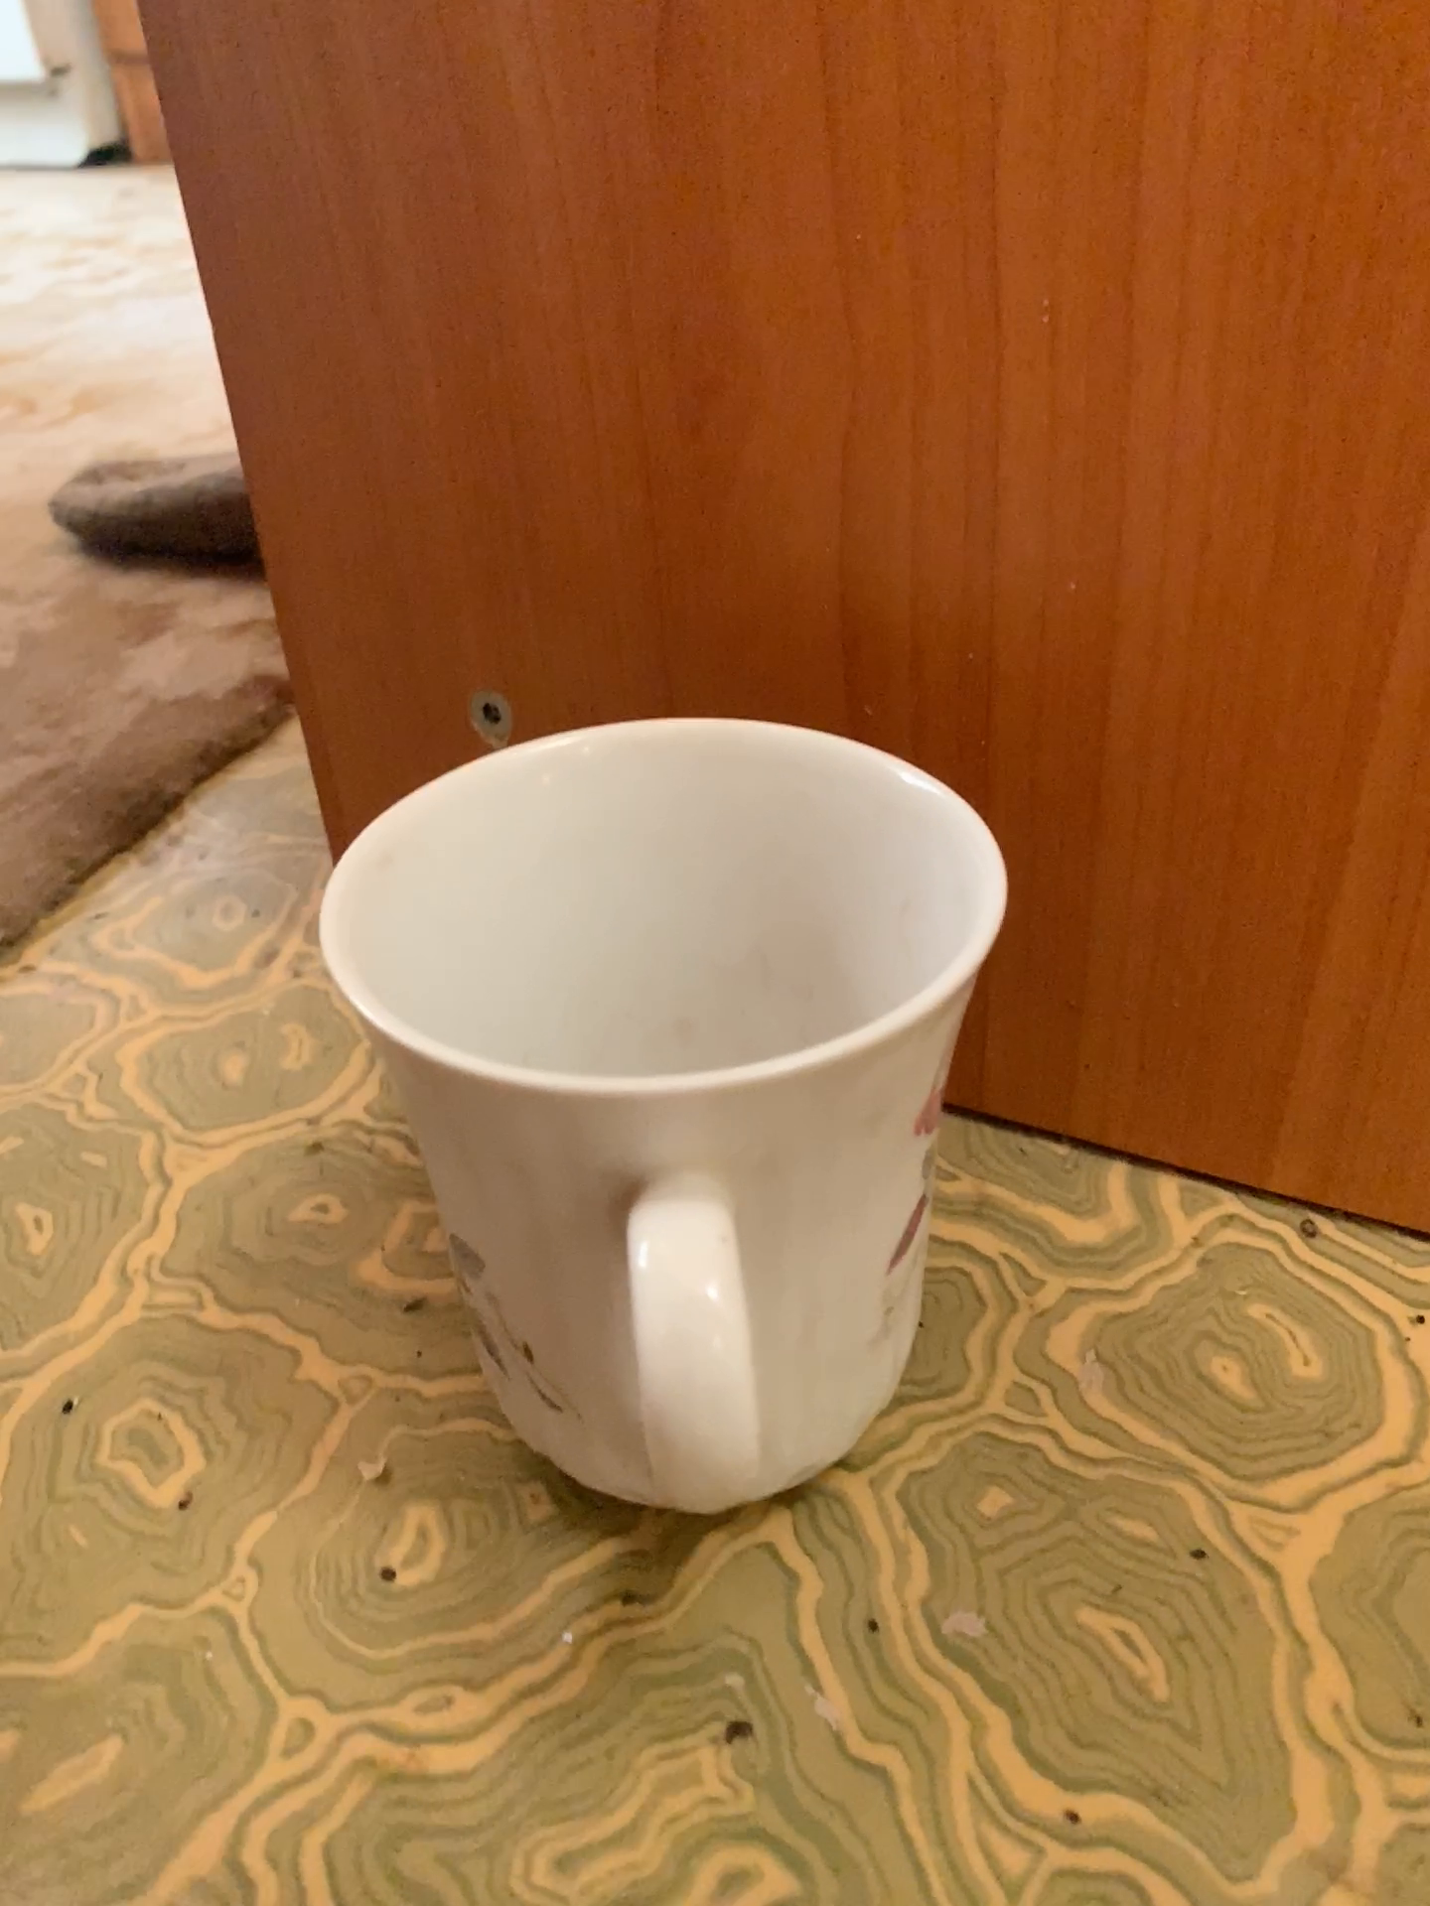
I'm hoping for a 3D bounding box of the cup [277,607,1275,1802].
[{"bbox_3d":[-0.003,0.021,0.204,0.086,0.086,0.119,-12,35,-13],"label":"cup"}]
